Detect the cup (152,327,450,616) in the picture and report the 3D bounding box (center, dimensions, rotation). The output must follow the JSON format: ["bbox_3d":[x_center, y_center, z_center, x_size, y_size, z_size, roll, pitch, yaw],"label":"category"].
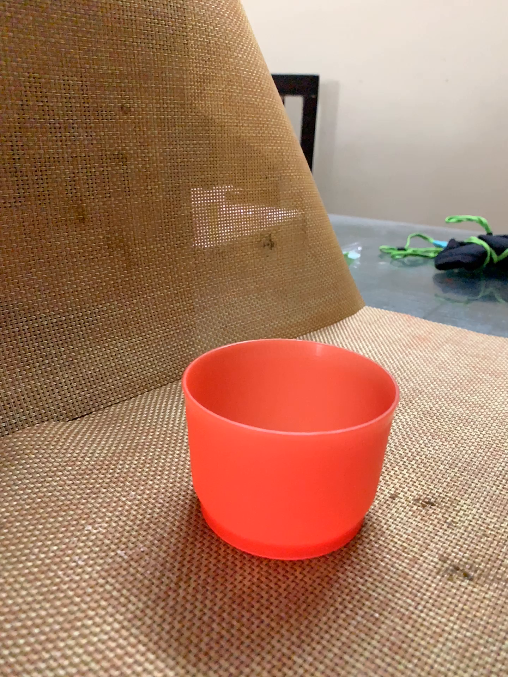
[{"bbox_3d":[0.014,0.036,0.185,0.070,0.050,0.070,2,21,-1],"label":"cup"}]
